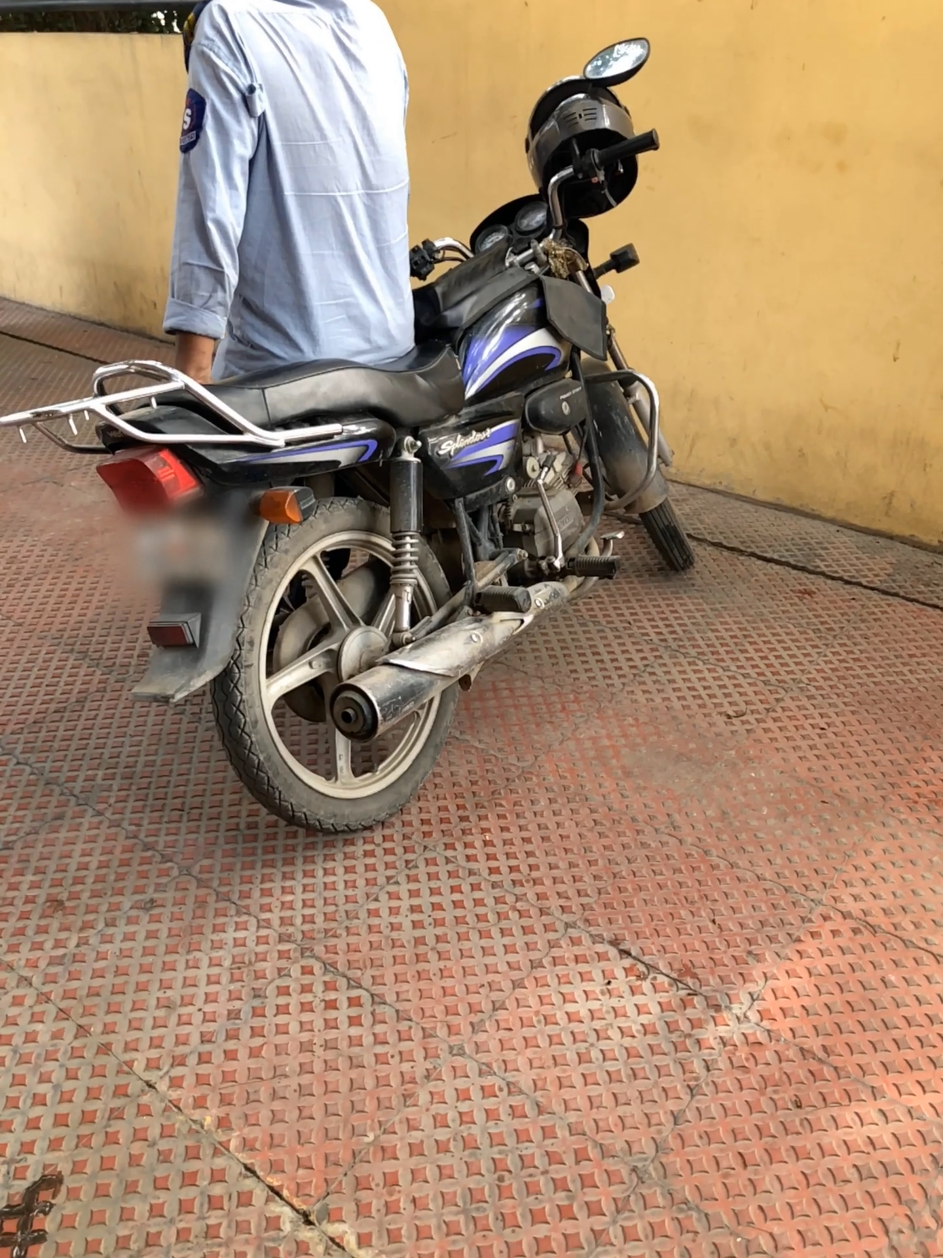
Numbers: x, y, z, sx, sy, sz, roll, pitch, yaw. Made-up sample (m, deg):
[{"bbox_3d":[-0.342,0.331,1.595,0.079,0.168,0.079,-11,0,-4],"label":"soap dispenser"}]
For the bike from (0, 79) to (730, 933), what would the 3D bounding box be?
[{"bbox_3d":[-0.156,-0.498,2.155,0.920,1.007,1.684,13,34,21],"label":"bike"}]
